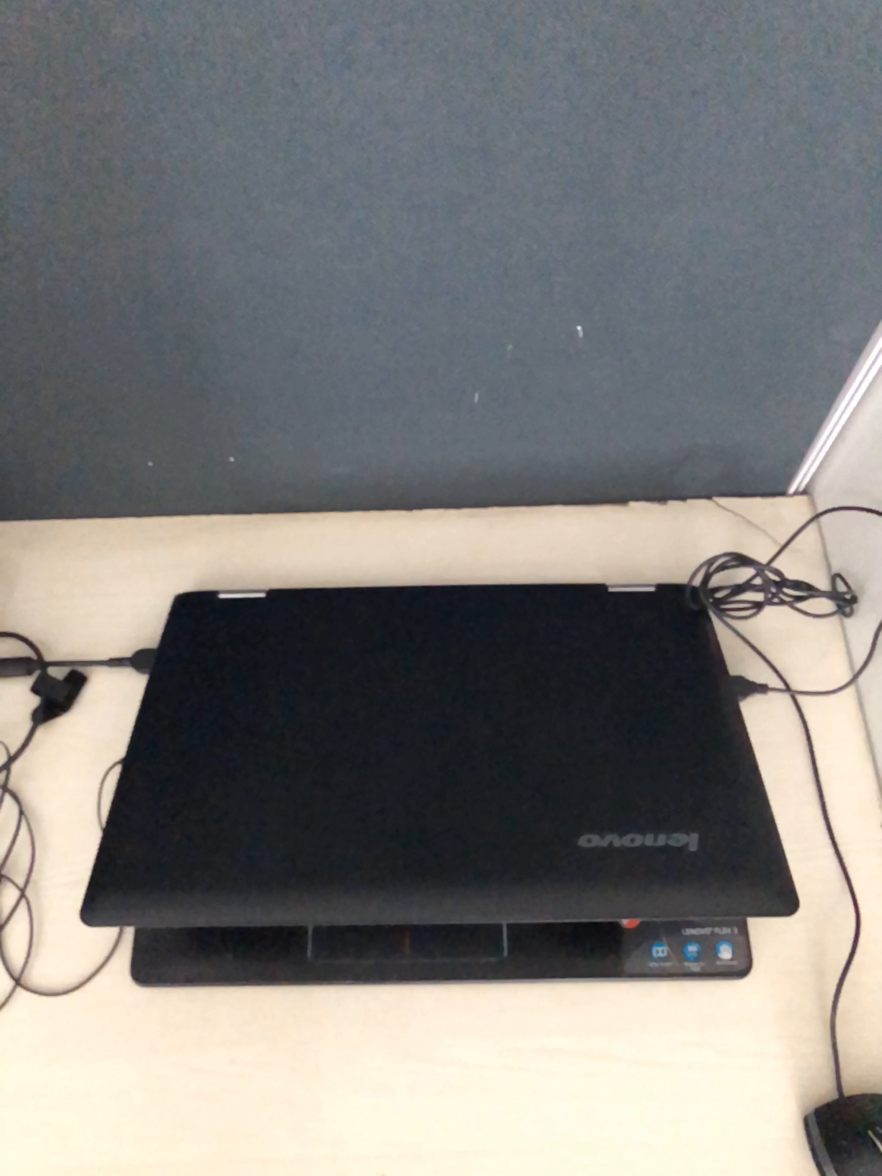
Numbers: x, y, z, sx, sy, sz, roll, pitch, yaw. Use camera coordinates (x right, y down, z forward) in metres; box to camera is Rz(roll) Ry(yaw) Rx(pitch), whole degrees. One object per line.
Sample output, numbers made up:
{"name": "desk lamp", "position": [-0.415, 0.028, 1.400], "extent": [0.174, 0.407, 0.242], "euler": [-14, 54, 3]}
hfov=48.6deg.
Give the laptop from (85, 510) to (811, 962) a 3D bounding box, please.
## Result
{"name": "laptop", "position": [0.002, 0.077, 0.525], "extent": [0.326, 0.083, 0.220], "euler": [-1, 63, 1]}
